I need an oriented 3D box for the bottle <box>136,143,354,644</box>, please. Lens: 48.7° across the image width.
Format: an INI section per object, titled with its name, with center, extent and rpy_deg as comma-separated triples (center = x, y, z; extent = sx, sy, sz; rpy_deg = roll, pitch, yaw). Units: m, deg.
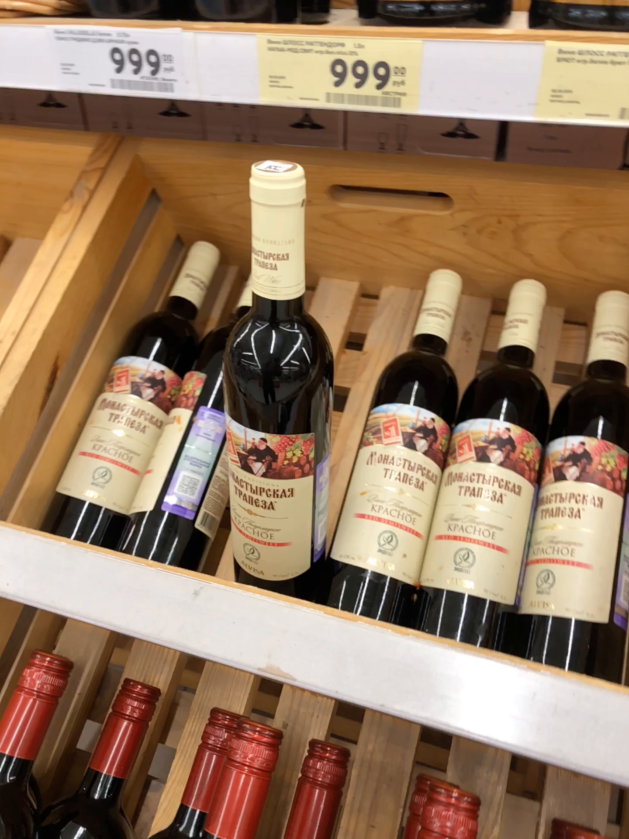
[bottle]
center = -0.030, -0.001, 0.442
extent = 0.080, 0.308, 0.080
rpy_deg = -1, 35, 1
